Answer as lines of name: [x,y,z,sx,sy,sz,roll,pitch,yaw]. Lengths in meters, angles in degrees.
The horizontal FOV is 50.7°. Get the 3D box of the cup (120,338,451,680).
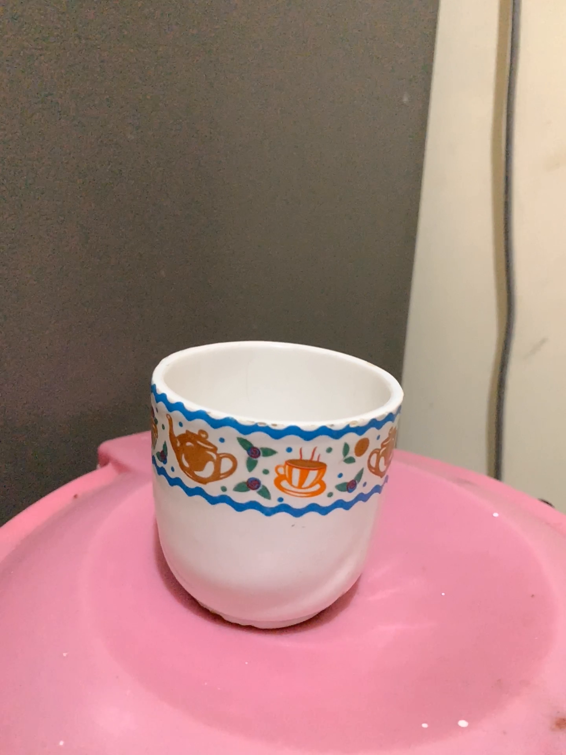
cup: [-0.006,0.027,0.171,0.070,0.060,0.070,2,16,-1]
